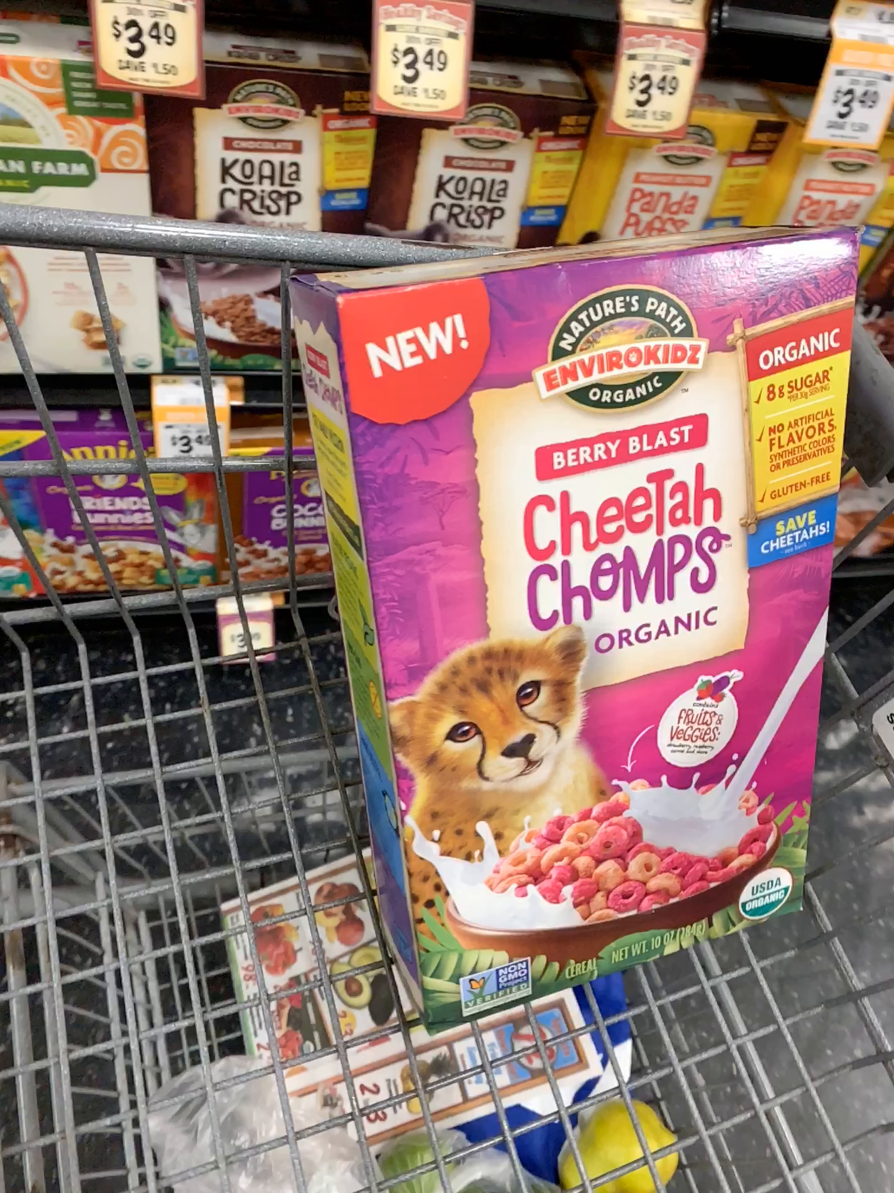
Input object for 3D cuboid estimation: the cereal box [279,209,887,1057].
[{"bbox_3d":[0.047,0.012,0.308,0.160,0.250,0.060,-12,24,-17],"label":"cereal box"}]
